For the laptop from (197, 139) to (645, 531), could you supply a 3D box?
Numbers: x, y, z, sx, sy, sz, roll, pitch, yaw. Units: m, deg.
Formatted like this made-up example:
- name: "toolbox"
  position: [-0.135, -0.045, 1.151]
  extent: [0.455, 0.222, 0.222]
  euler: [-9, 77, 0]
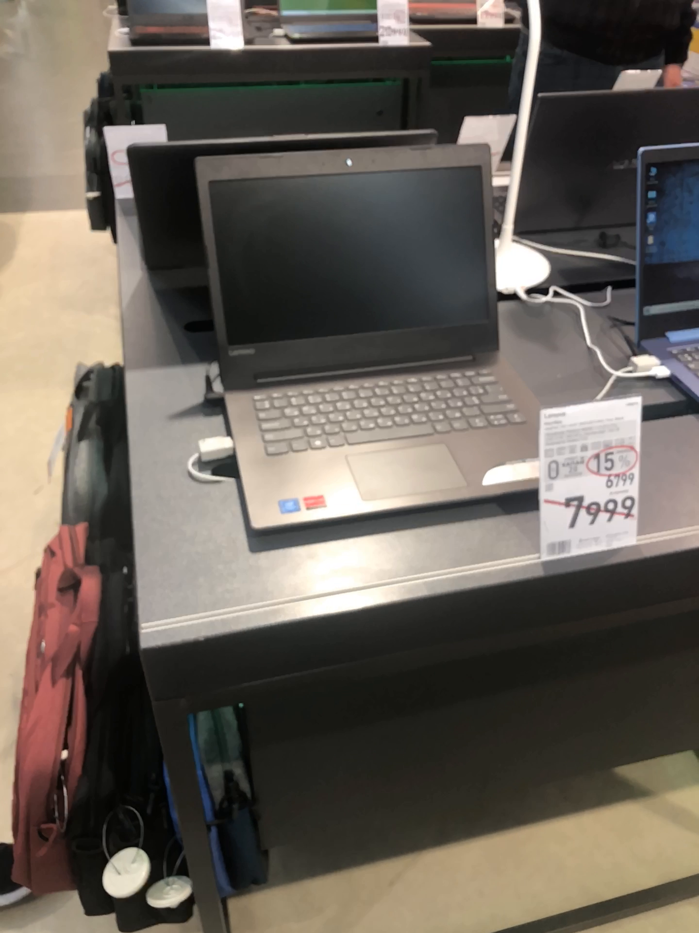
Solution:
- name: "laptop"
  position: [0.037, -0.160, 0.797]
  extent: [0.330, 0.205, 0.362]
  euler: [-7, 41, -12]
